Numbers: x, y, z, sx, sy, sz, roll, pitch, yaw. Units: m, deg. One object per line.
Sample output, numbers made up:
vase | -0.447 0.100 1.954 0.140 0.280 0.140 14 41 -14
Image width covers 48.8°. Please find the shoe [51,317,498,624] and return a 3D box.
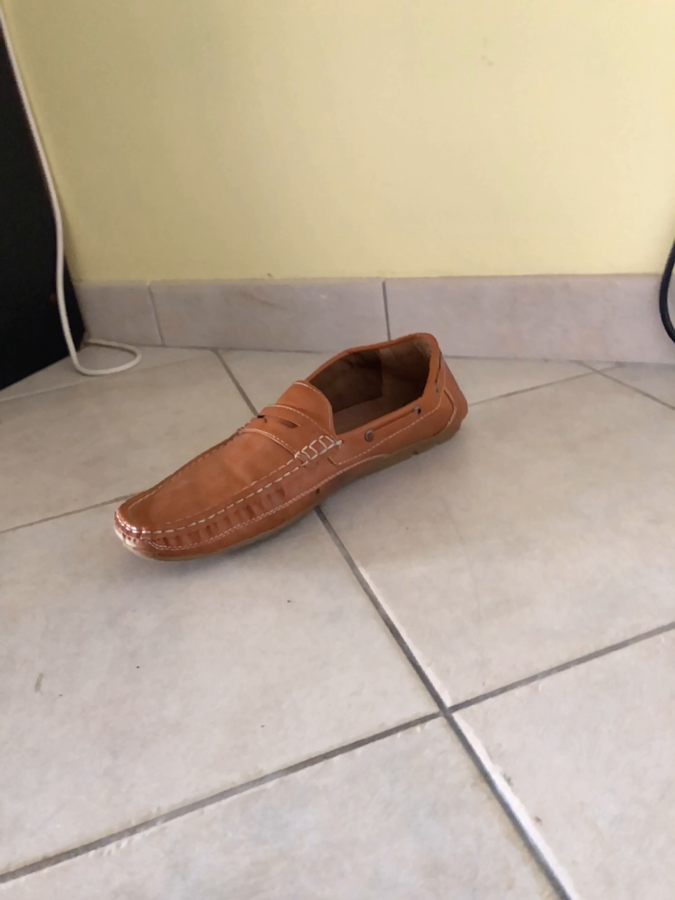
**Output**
shoe | -0.030 -0.008 0.517 0.281 0.070 0.130 -27 33 -33
